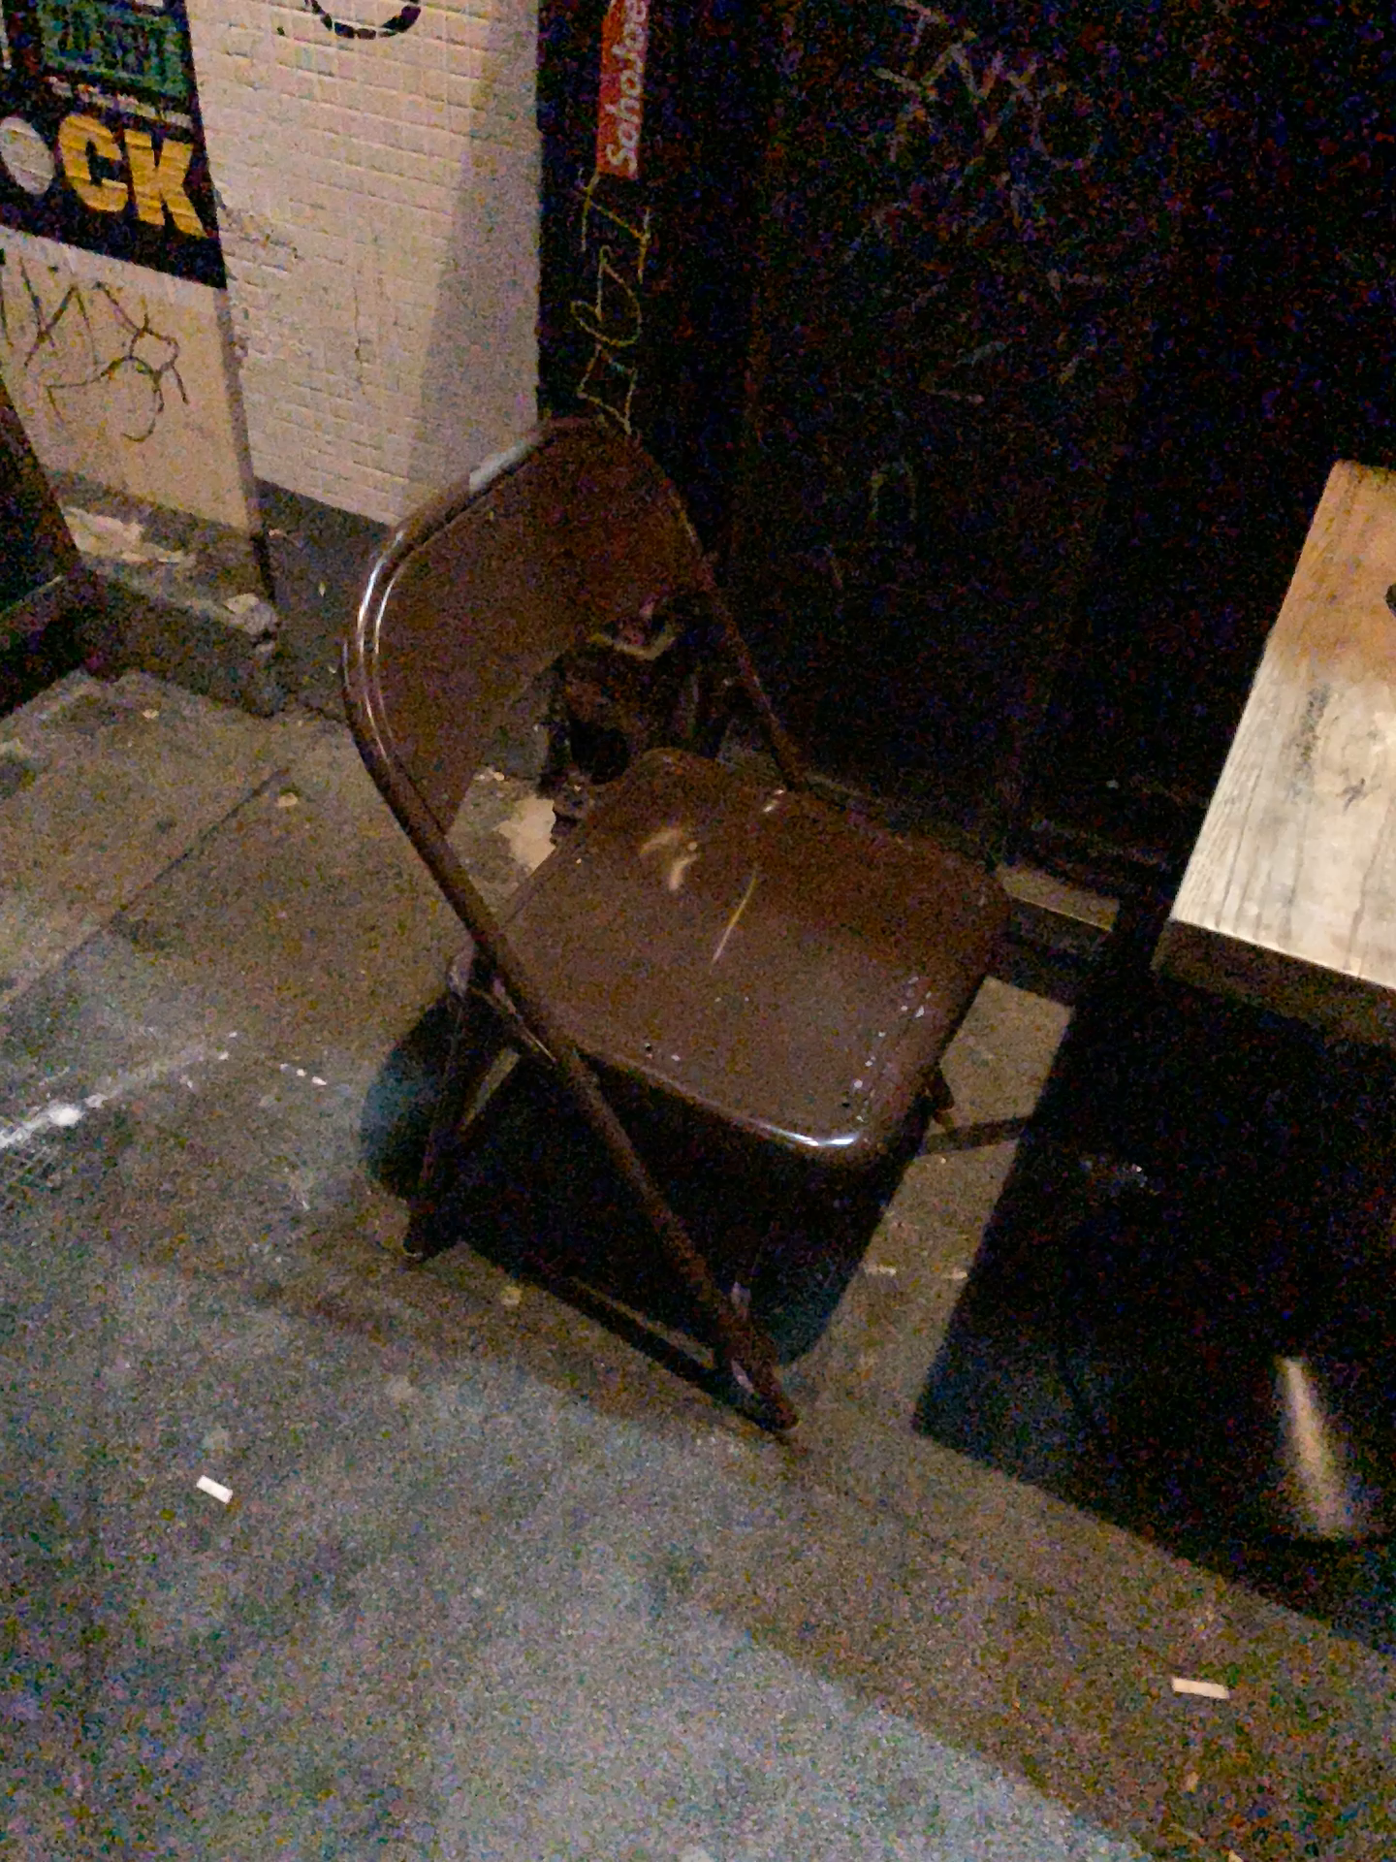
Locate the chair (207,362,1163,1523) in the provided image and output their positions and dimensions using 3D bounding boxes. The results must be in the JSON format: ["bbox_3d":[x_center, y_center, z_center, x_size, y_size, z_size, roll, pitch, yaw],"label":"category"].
[{"bbox_3d":[-0.007,0.010,1.212,0.481,0.723,0.494,23,45,18],"label":"chair"}]
